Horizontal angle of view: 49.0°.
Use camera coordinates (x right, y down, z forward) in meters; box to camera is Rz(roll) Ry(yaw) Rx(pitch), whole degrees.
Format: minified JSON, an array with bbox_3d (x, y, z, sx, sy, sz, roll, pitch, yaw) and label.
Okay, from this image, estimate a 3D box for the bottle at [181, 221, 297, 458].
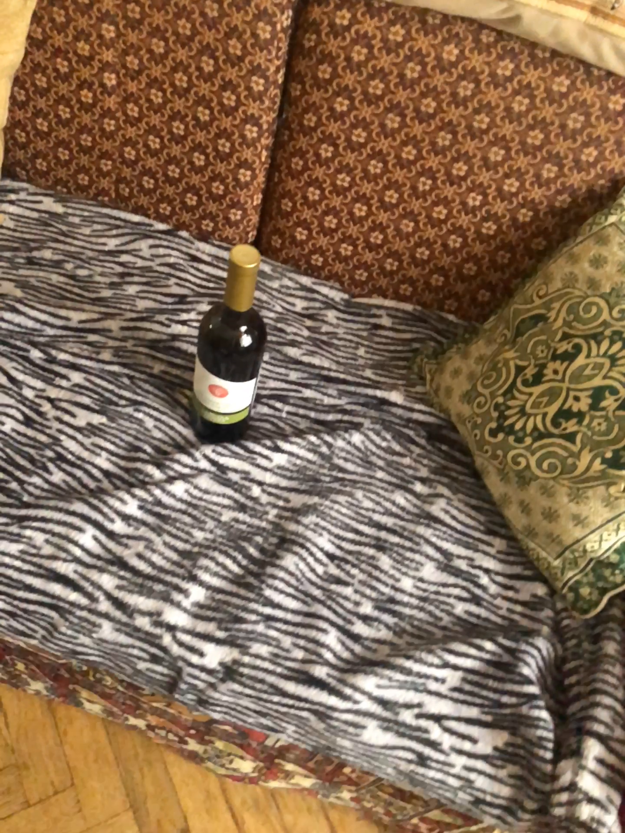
[{"bbox_3d":[-0.087,-0.069,0.743,0.080,0.268,0.080,6,54,-9],"label":"bottle"}]
